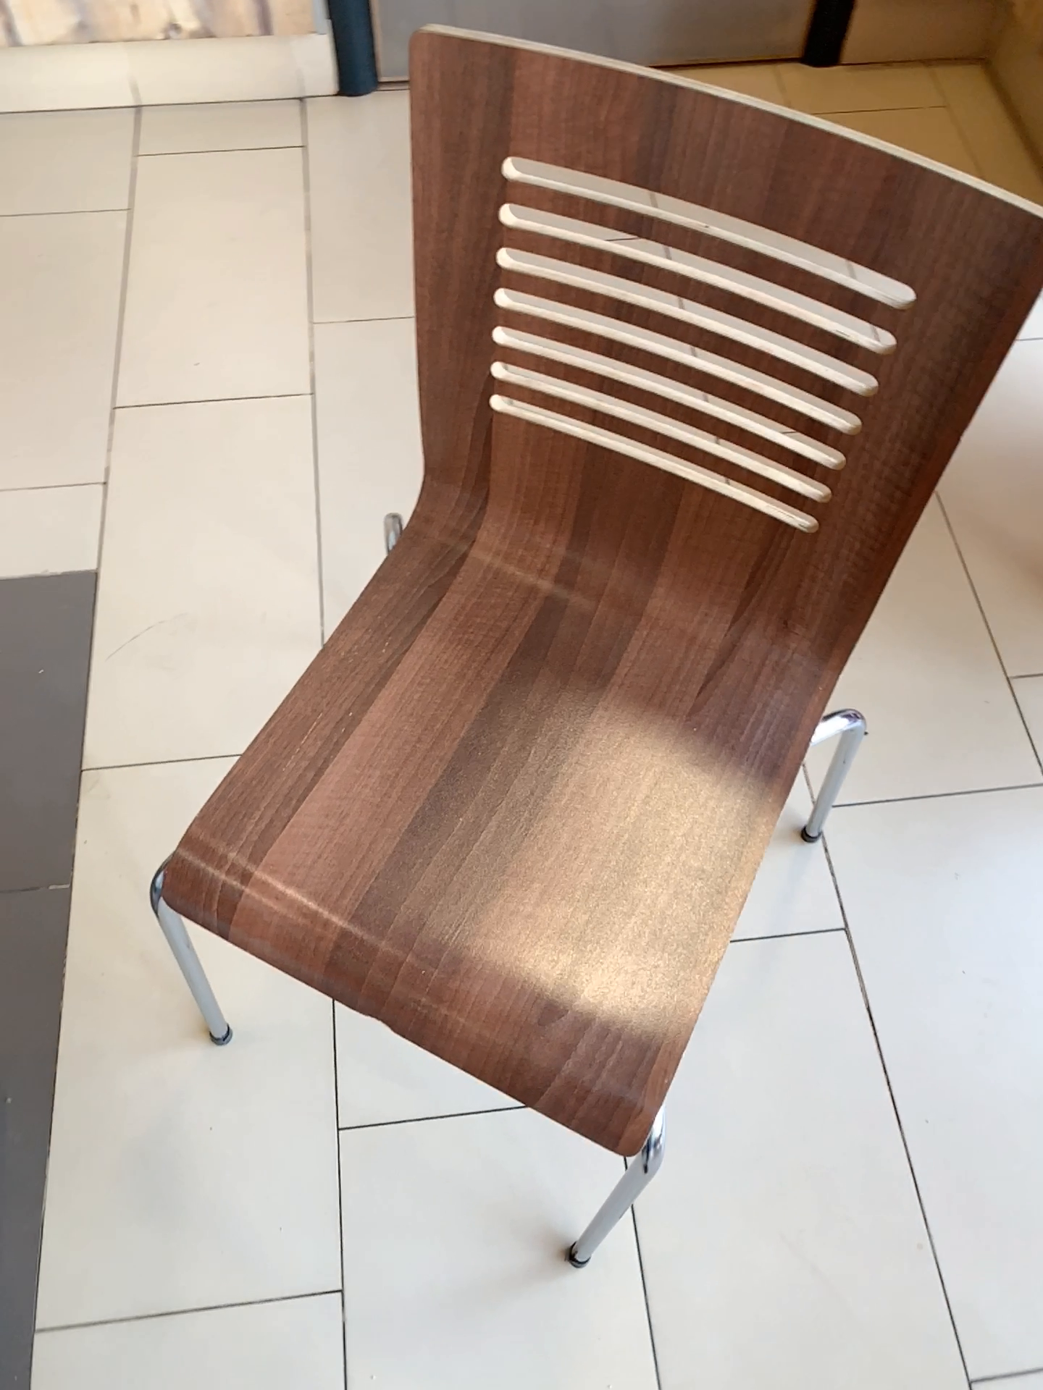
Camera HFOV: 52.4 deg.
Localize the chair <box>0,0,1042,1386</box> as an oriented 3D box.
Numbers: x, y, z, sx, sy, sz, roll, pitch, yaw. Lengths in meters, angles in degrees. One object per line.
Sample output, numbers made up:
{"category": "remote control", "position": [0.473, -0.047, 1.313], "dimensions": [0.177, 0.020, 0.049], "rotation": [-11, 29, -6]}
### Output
{"category": "chair", "position": [0.005, 0.048, 0.849], "dimensions": [0.545, 0.796, 0.593], "rotation": [26, 64, 12]}
